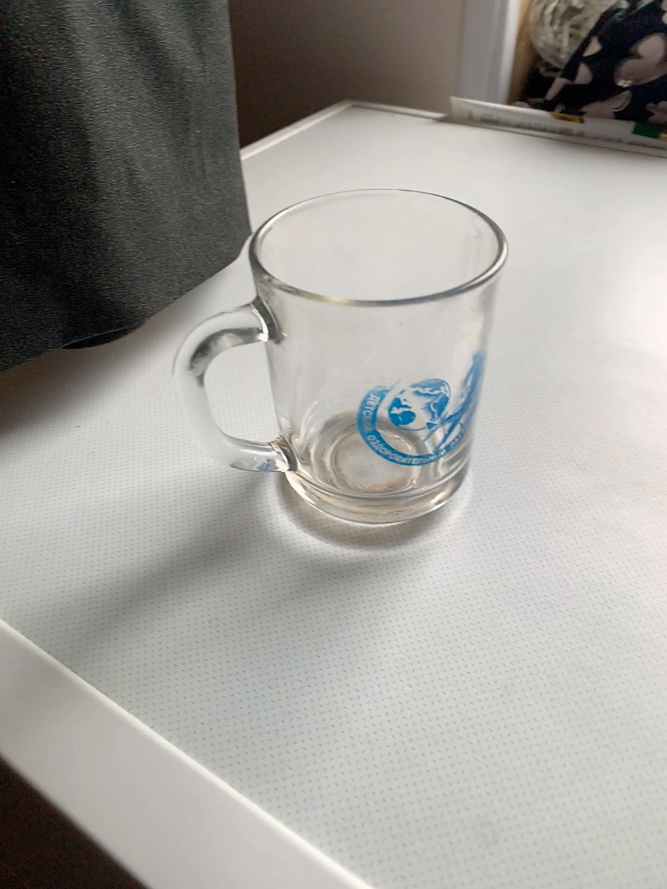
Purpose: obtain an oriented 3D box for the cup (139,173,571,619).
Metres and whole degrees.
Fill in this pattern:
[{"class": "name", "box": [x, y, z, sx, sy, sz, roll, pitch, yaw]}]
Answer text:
[{"class": "cup", "box": [0.002, -0.016, 0.204, 0.090, 0.089, 0.071, -14, 43, -13]}]
